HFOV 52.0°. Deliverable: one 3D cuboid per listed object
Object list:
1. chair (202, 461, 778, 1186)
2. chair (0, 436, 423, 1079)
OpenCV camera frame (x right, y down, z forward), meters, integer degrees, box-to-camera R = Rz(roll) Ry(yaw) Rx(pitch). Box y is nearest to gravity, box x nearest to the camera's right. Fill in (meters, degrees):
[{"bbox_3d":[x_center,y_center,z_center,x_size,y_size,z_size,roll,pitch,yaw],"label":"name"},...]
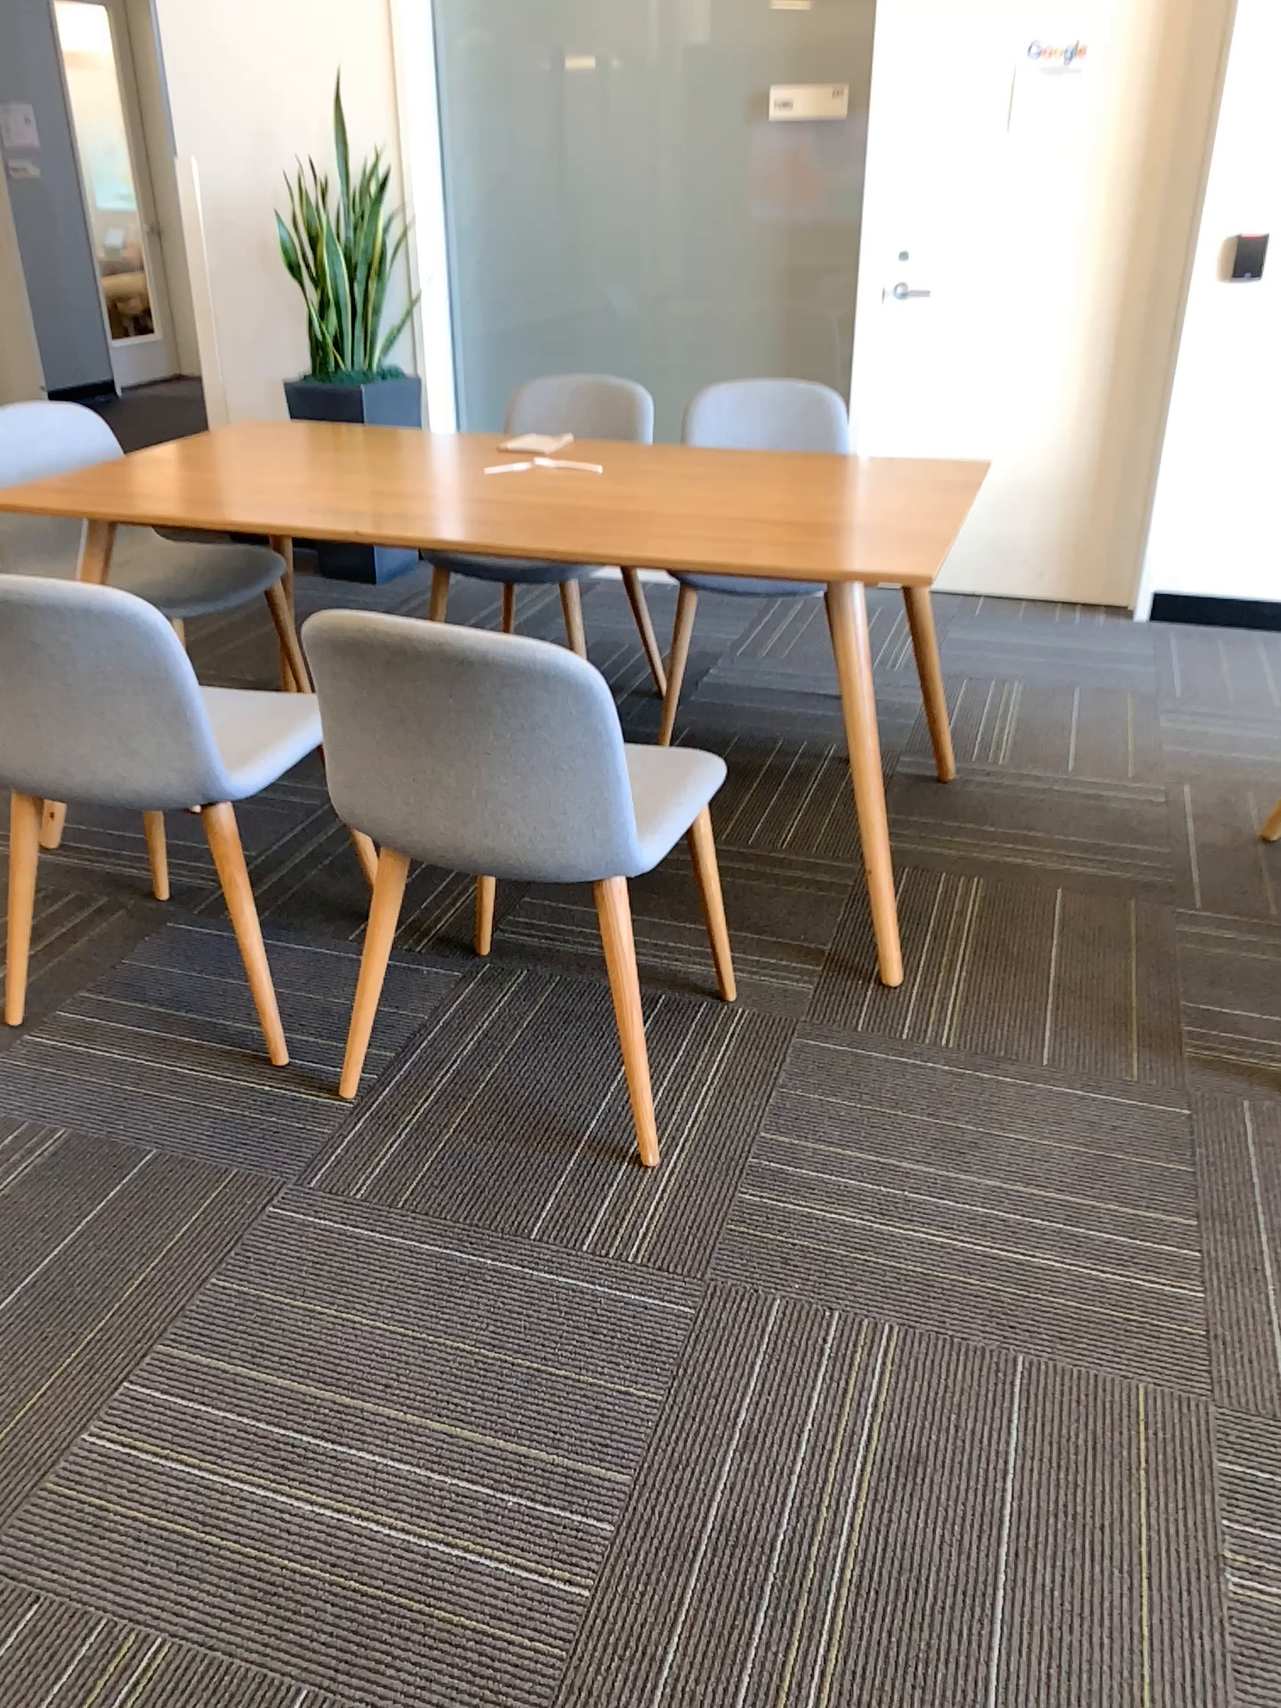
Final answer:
[{"bbox_3d":[-0.153,-0.077,1.898,0.571,0.805,0.583,7,30,14],"label":"chair"},{"bbox_3d":[-0.748,-0.179,2.086,0.570,0.805,0.583,5,30,10],"label":"chair"}]
